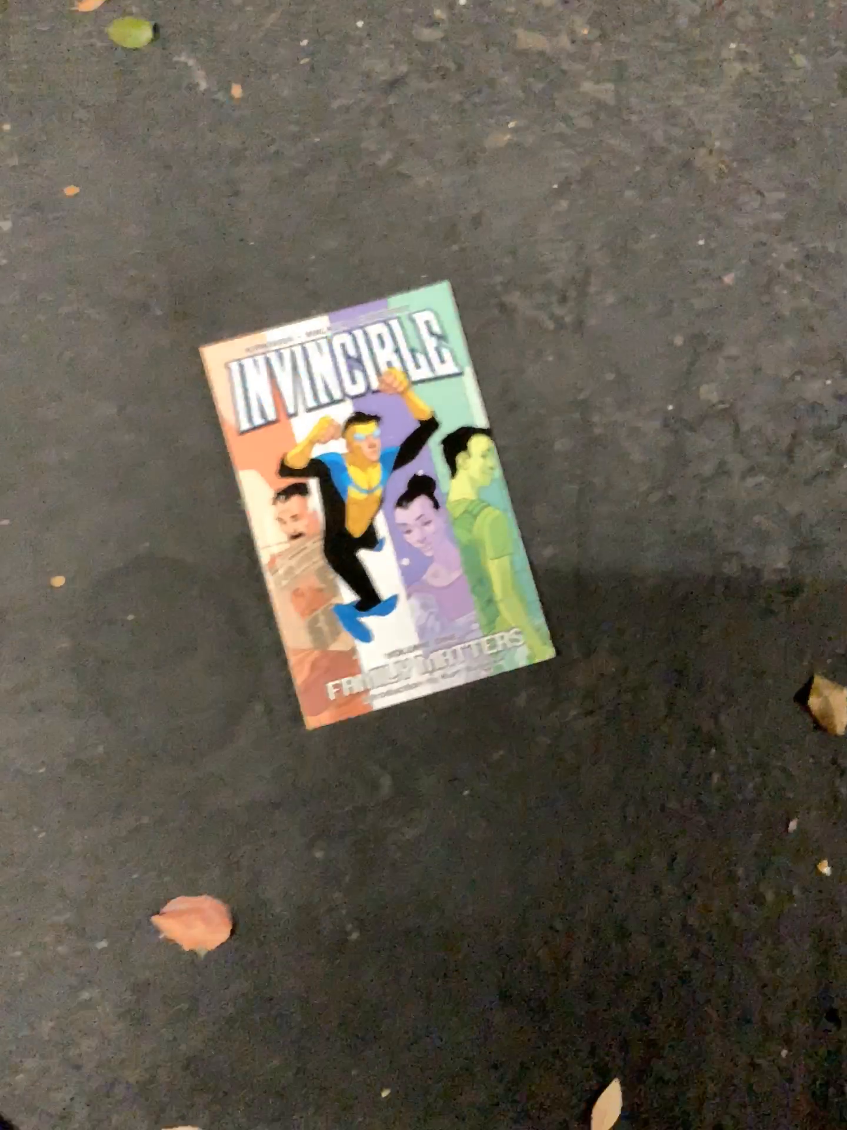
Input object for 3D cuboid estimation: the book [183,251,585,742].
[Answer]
[{"bbox_3d":[-0.026,-0.046,0.605,0.180,0.020,0.270,-17,86,-4],"label":"book"}]
